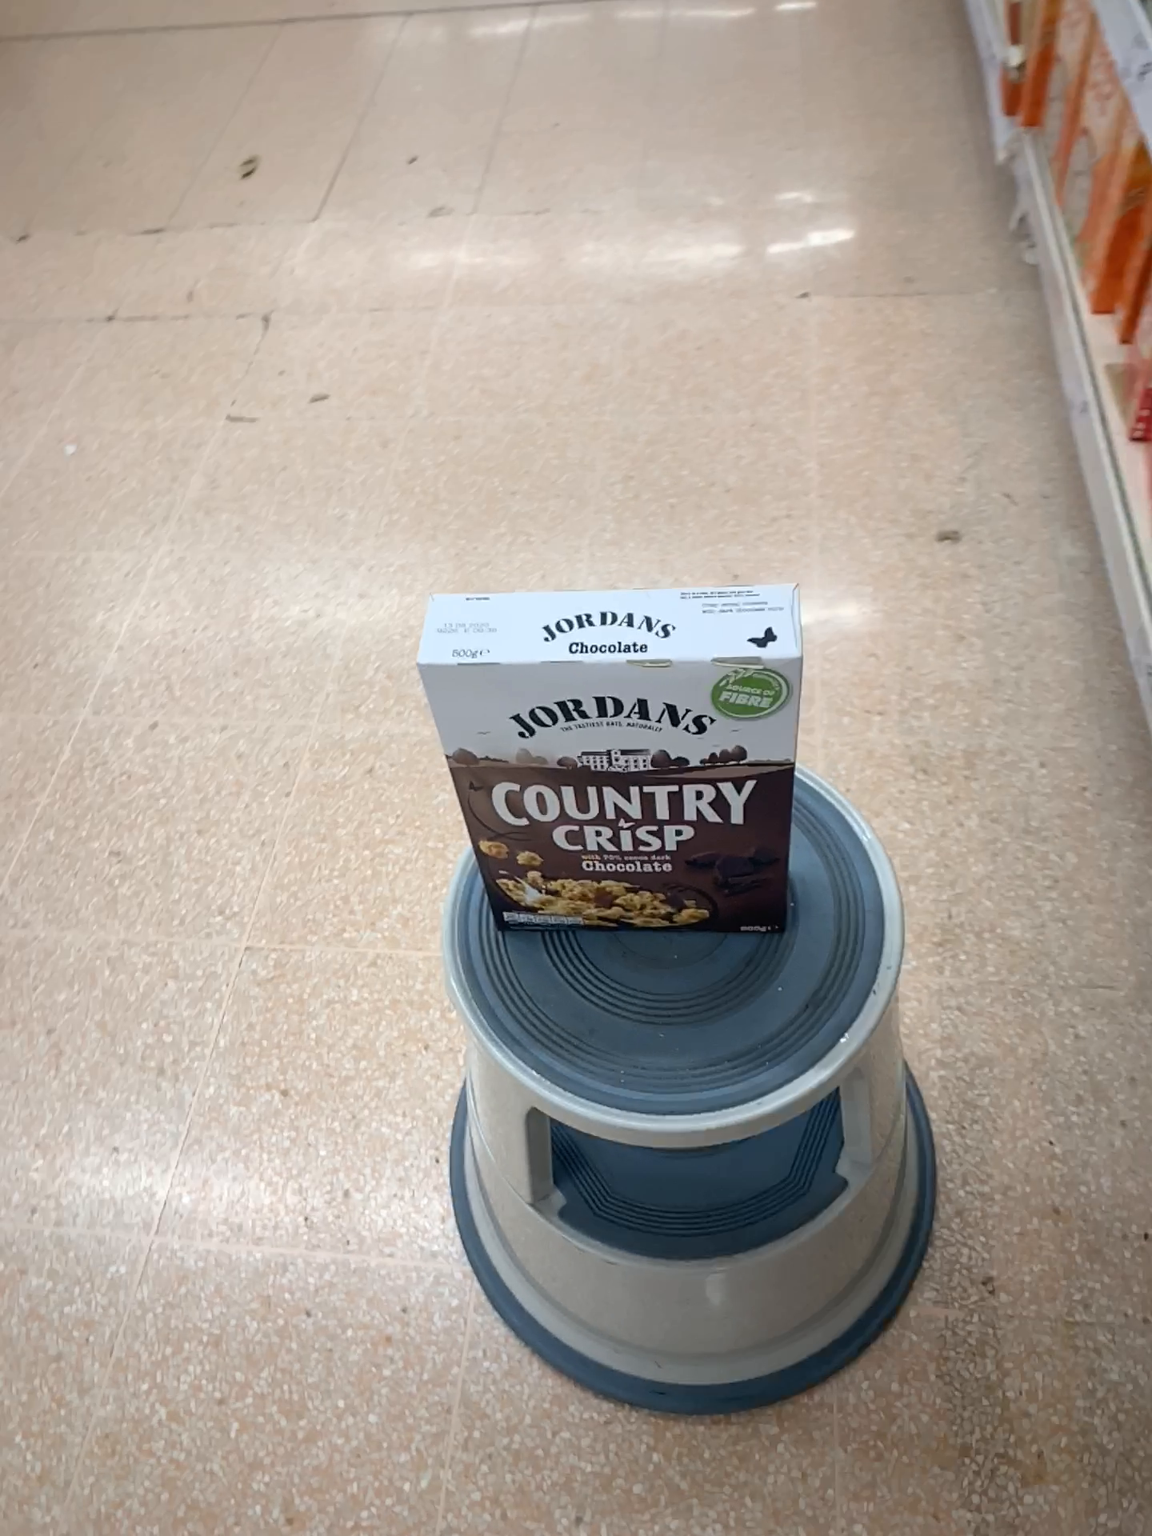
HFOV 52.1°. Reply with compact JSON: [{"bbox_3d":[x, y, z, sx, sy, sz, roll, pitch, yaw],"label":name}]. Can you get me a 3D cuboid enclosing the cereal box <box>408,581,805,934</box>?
[{"bbox_3d":[0.026,0.007,0.646,0.180,0.248,0.050,0,53,7],"label":"cereal box"}]
